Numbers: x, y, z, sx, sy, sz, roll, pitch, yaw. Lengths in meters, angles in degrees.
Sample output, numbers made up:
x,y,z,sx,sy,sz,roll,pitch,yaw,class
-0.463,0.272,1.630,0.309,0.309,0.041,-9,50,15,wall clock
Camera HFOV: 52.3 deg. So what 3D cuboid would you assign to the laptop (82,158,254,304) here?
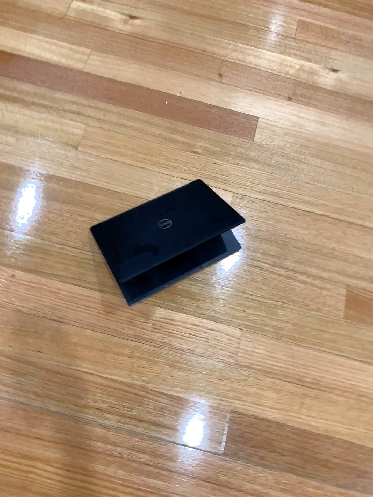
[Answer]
x,y,z,sx,sy,sz,roll,pitch,yaw,class
-0.043,-0.043,0.848,0.297,0.110,0.206,-25,72,-15,laptop
